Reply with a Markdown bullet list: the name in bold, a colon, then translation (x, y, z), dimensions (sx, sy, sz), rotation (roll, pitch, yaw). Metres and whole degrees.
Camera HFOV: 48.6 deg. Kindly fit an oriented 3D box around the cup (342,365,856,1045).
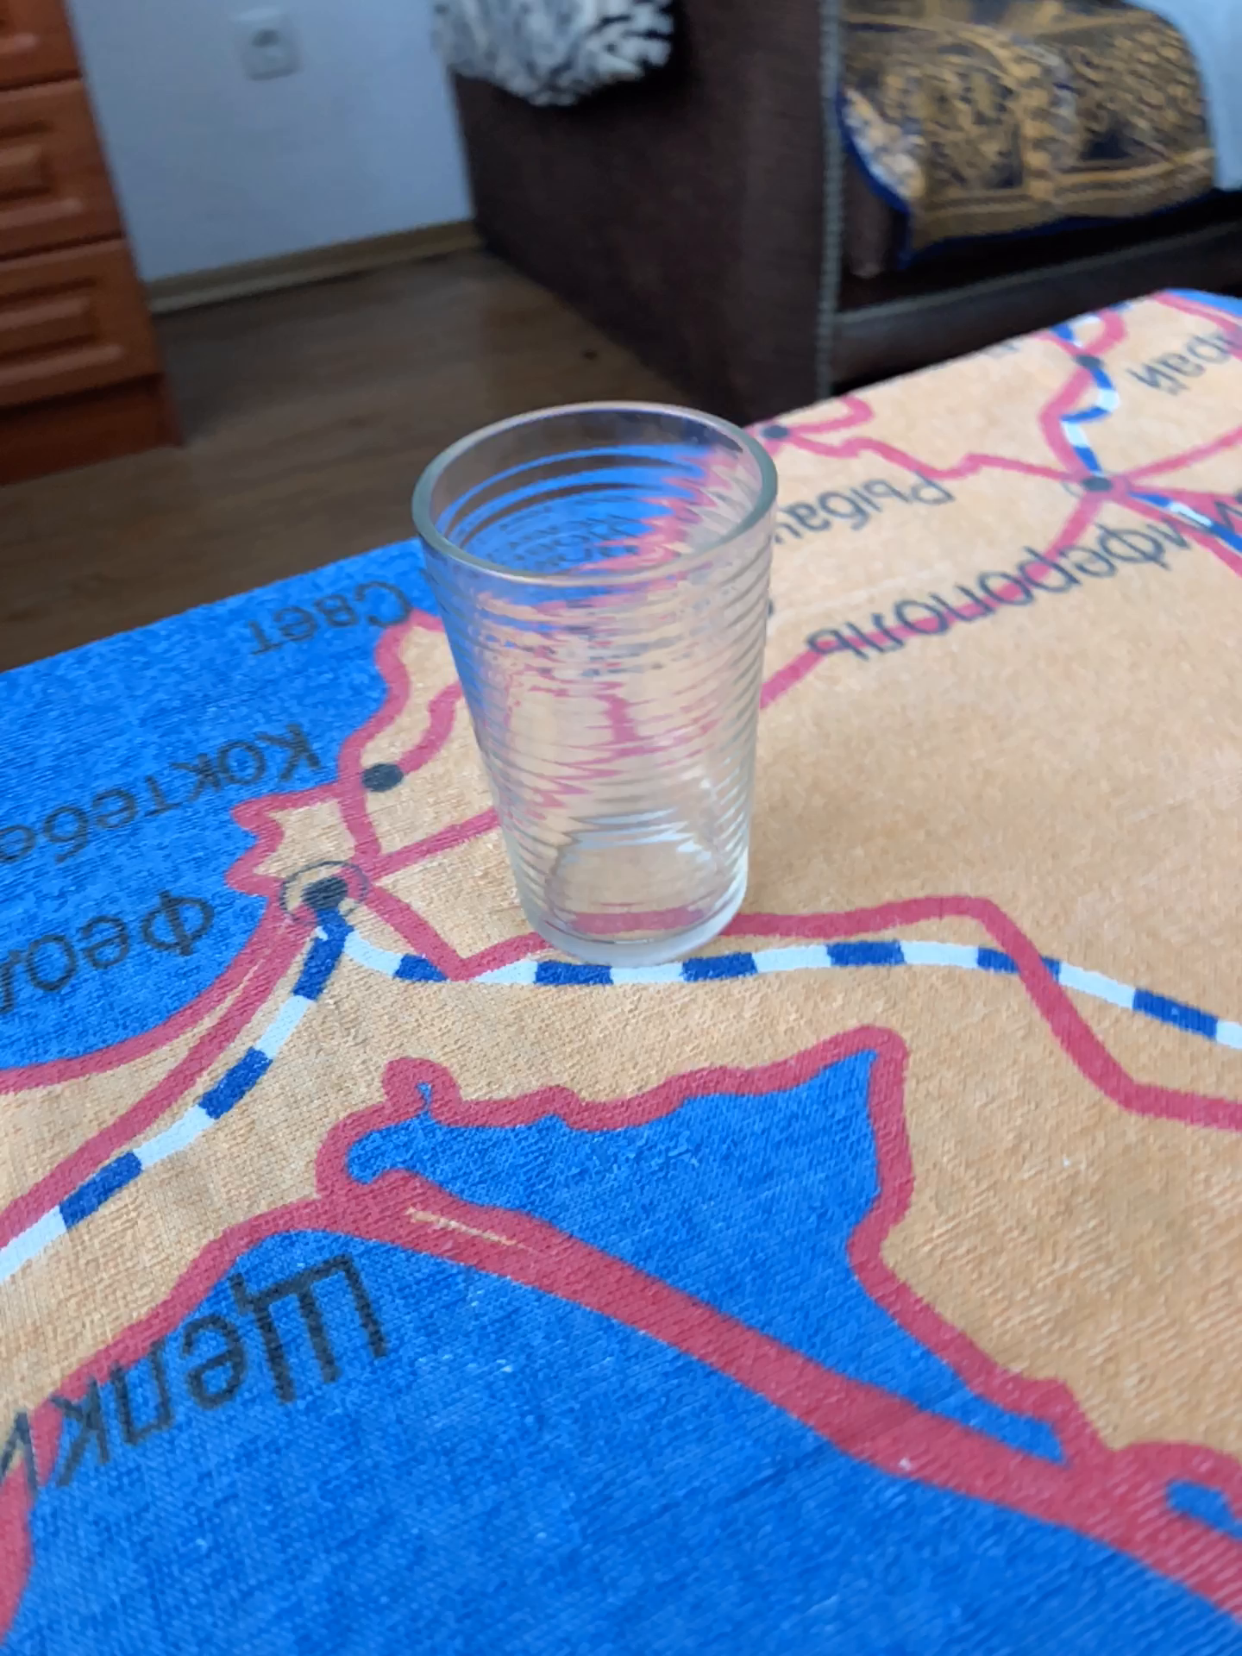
- **cup**: translation (-0.004, -0.025, 0.277), dimensions (0.068, 0.099, 0.070), rotation (-2, 41, 2)
